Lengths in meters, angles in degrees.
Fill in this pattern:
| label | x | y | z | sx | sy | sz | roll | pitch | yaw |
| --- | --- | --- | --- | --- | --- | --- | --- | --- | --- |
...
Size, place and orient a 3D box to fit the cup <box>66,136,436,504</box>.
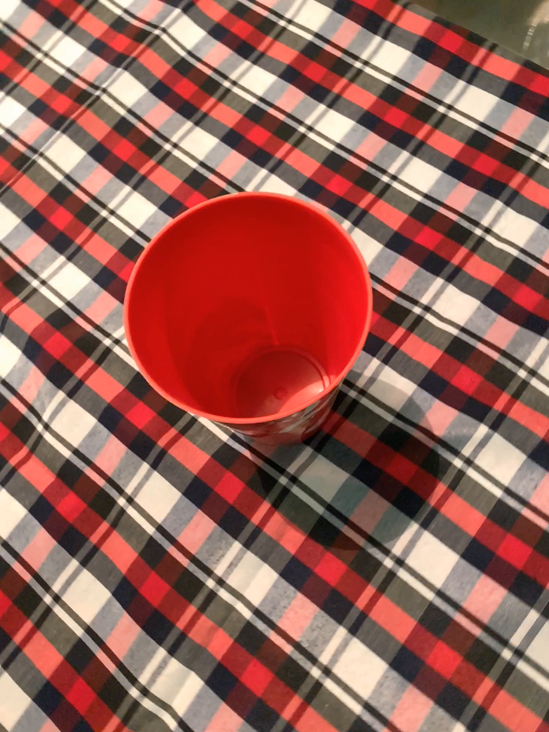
| label | x | y | z | sx | sy | sz | roll | pitch | yaw |
| --- | --- | --- | --- | --- | --- | --- | --- | --- | --- |
| cup | -0.002 | -0.009 | 0.263 | 0.100 | 0.130 | 0.100 | -2 | 72 | 5 |
